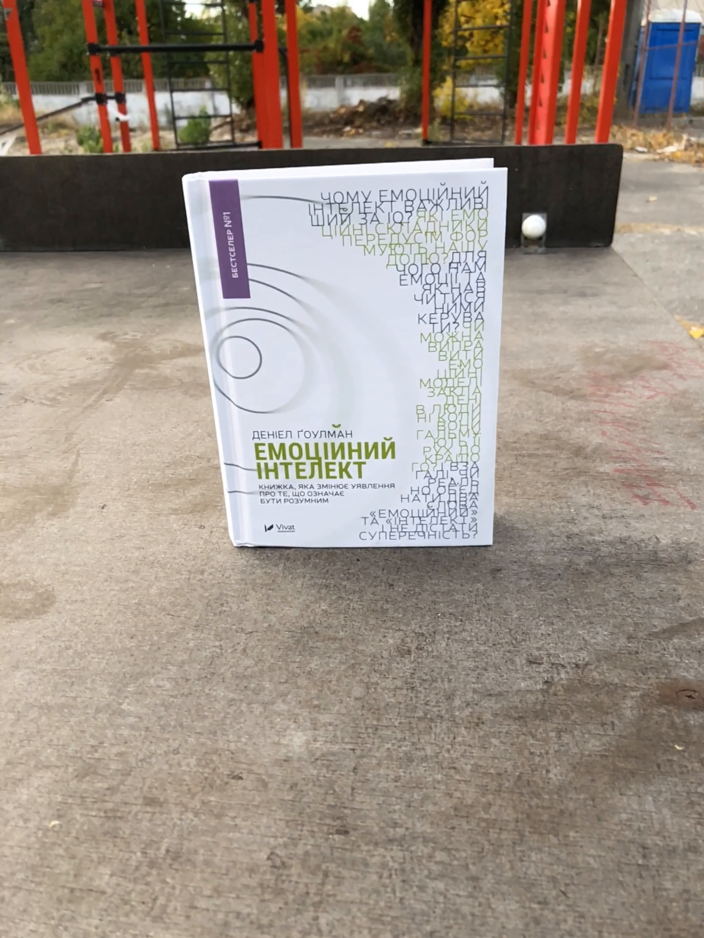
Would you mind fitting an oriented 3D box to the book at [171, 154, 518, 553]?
[{"bbox_3d":[-0.001,-0.057,0.426,0.160,0.209,0.050,-1,26,2],"label":"book"}]
